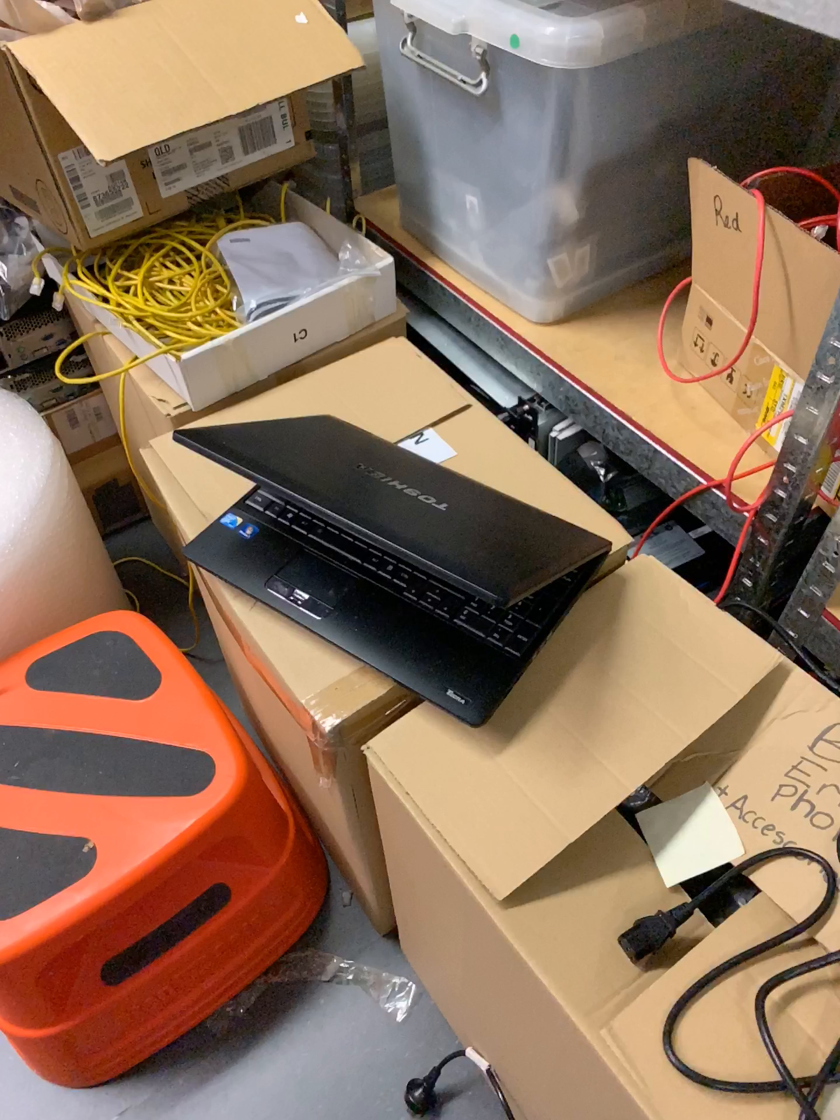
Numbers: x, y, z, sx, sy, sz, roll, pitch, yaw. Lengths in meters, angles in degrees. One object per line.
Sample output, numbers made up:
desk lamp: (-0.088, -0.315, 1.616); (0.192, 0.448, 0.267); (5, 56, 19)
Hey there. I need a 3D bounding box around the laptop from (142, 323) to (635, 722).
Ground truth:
laptop: (-0.029, -0.051, 0.809); (0.355, 0.135, 0.231); (27, 57, 22)
